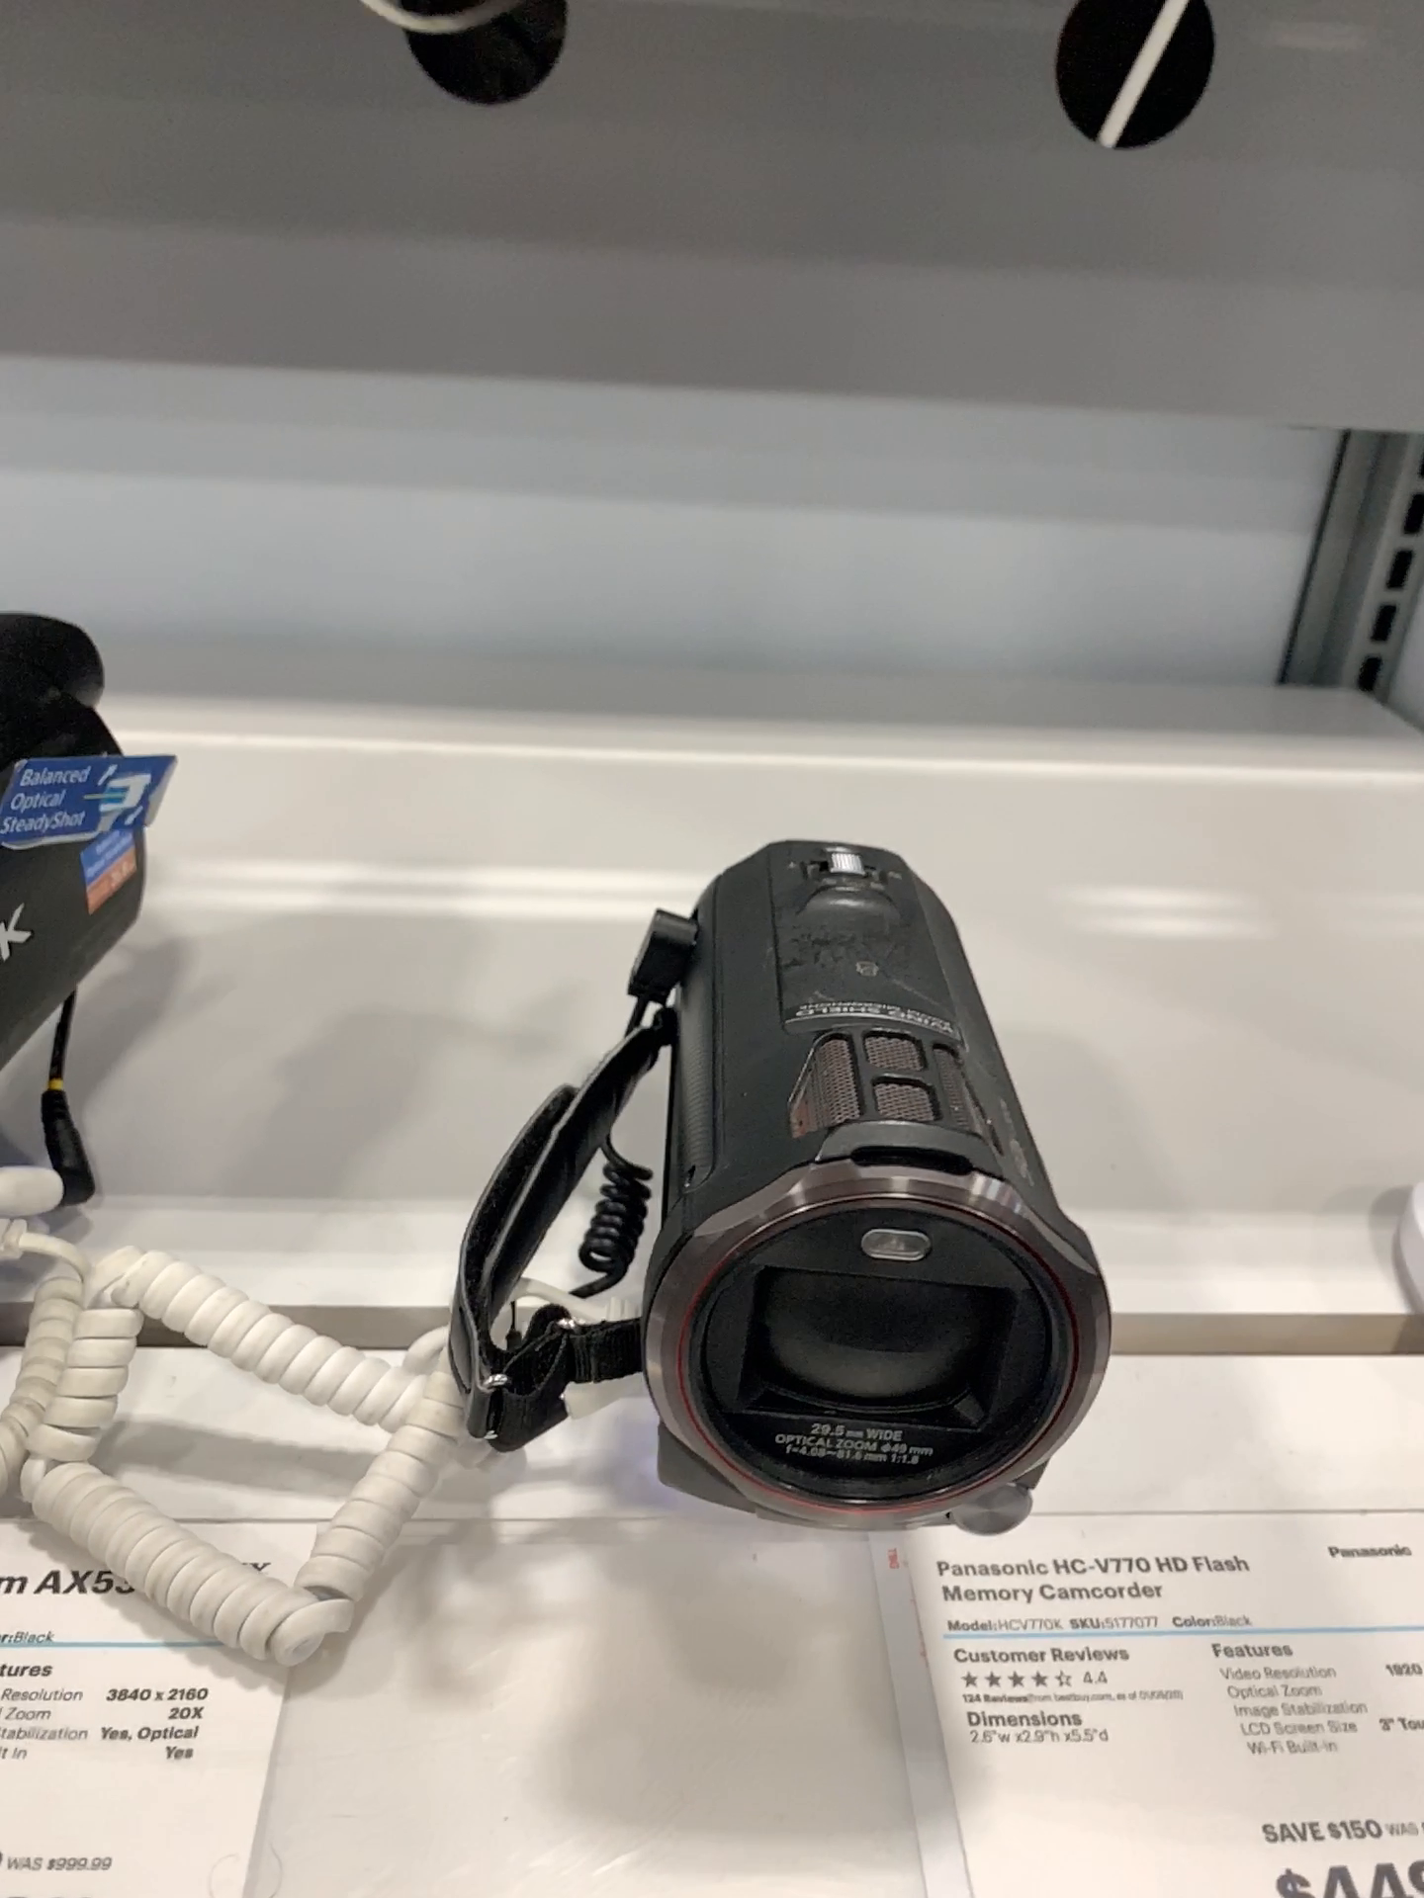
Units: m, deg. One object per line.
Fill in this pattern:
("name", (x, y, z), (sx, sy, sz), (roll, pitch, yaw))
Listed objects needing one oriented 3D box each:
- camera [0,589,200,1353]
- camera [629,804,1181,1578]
("camera", (-0.165, -0.010, 0.288), (0.071, 0.073, 0.167), (4, 27, -1))
("camera", (0.021, 0.029, 0.256), (0.065, 0.061, 0.139), (3, 25, -4))
